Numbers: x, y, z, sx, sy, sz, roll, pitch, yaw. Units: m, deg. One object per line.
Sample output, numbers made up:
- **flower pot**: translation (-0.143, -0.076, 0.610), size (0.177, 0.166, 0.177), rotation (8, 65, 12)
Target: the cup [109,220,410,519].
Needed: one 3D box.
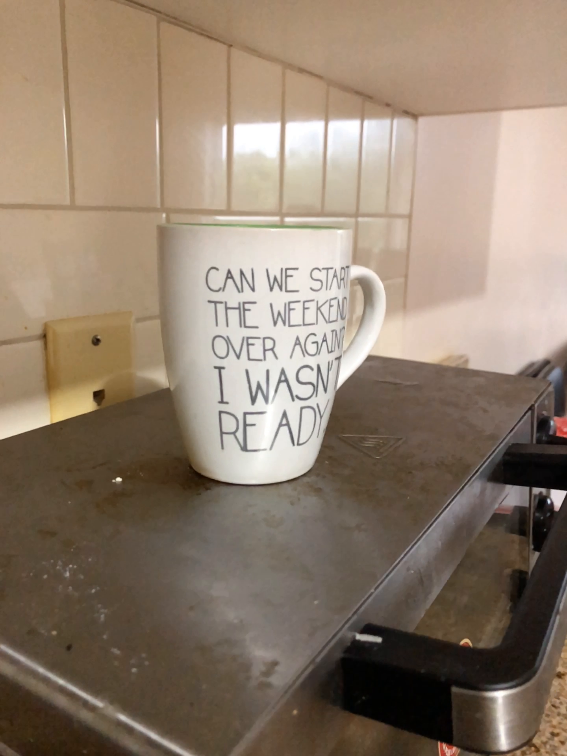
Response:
- **cup**: translation (-0.010, -0.014, 0.286), size (0.110, 0.110, 0.070), rotation (-8, 16, -35)
